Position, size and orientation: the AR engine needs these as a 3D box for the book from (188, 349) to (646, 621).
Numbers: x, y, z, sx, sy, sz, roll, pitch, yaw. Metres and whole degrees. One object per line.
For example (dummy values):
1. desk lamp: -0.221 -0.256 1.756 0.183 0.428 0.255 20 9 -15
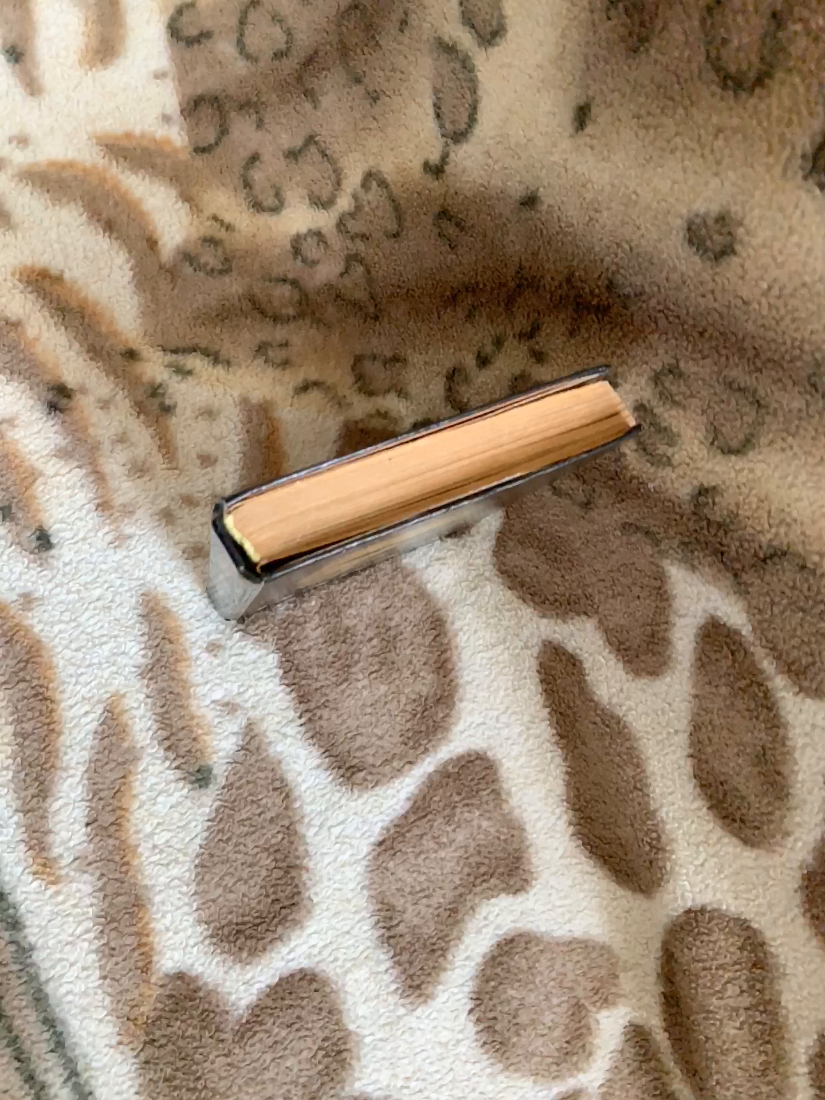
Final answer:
1. book: -0.017 -0.013 0.334 0.130 0.200 0.030 -21 89 -15
